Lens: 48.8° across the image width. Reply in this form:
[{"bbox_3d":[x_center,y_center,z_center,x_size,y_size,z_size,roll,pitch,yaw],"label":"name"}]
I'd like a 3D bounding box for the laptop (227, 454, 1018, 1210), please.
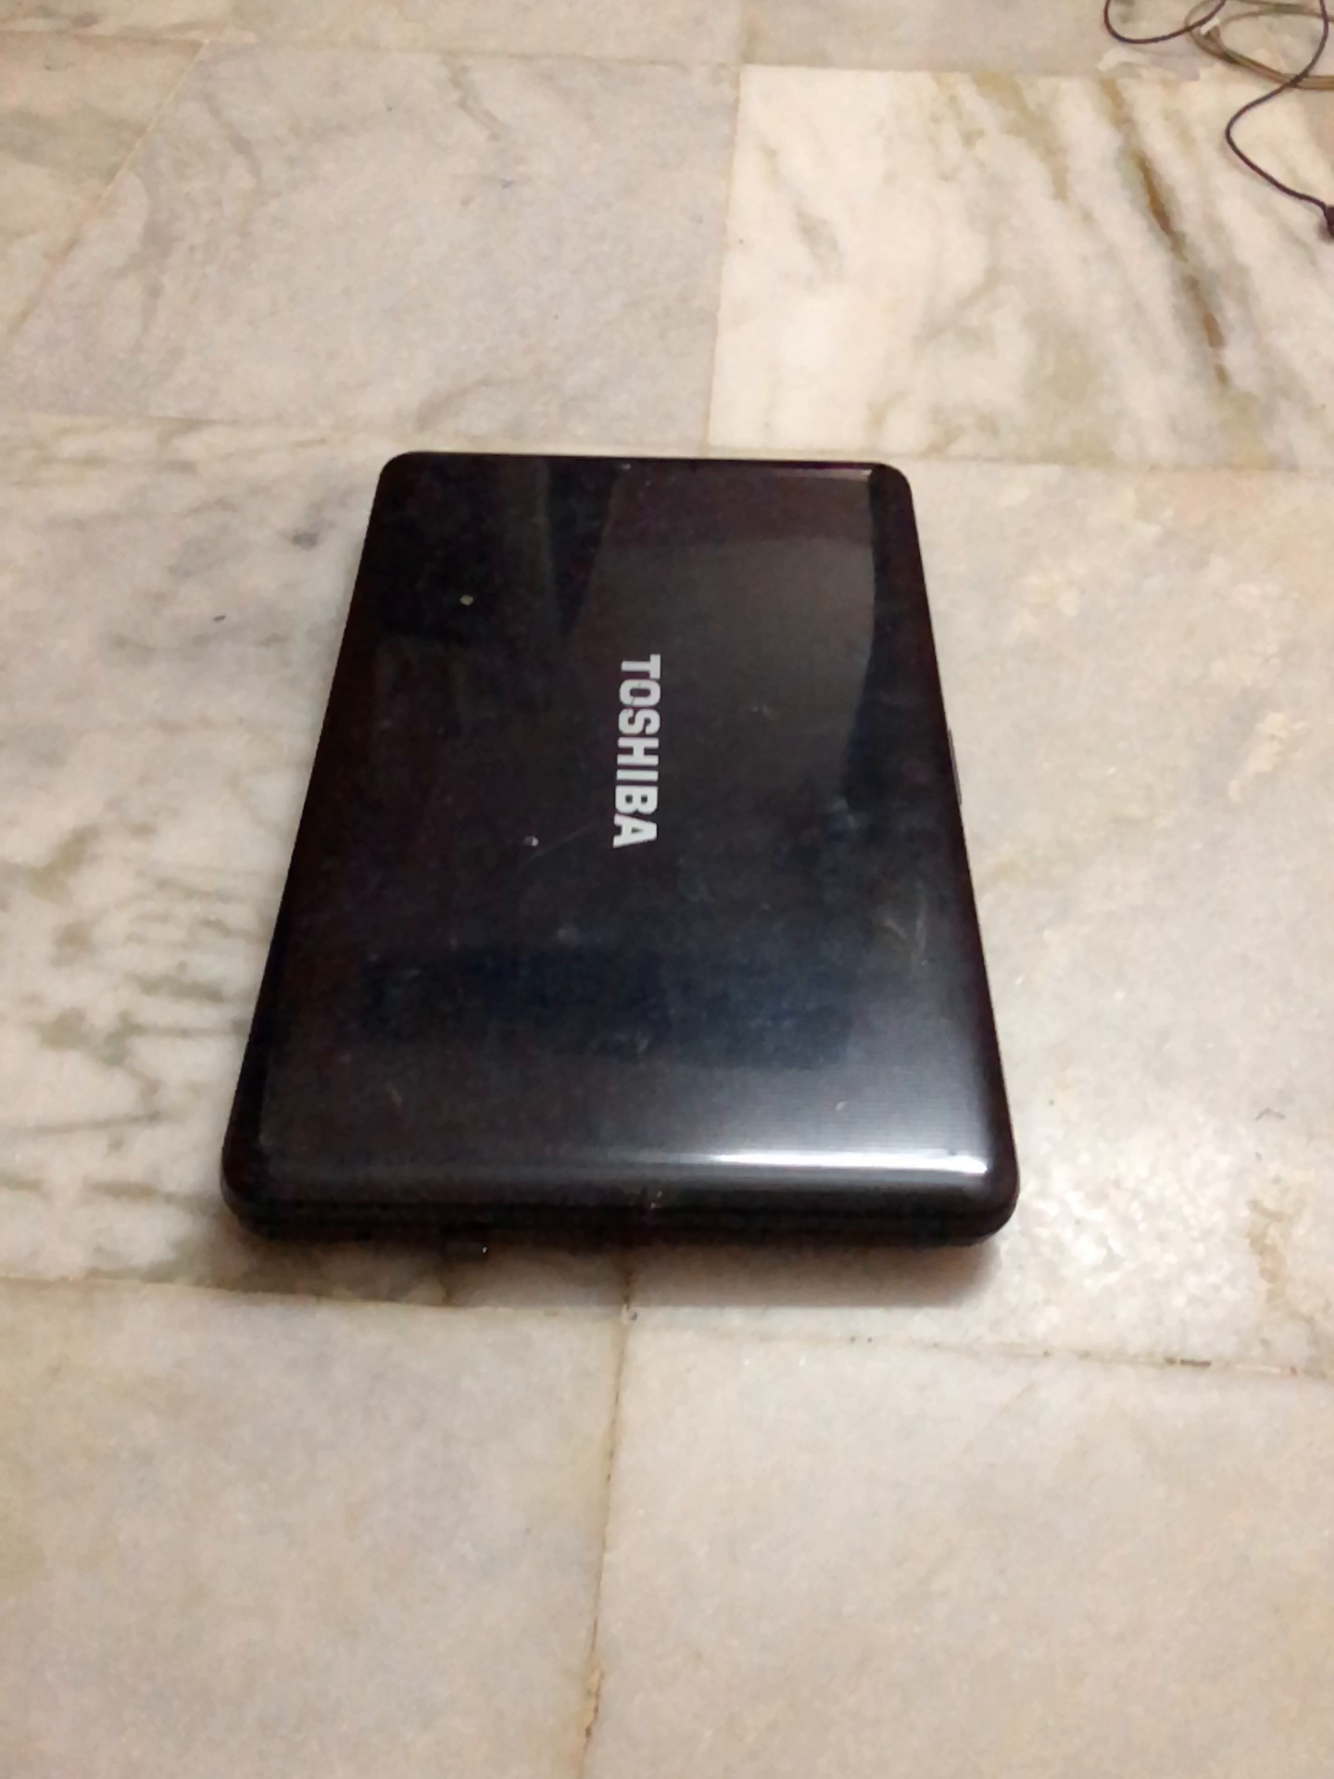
[{"bbox_3d":[-0.010,-0.050,0.534,0.224,0.004,0.361,1,50,-1],"label":"laptop"}]
